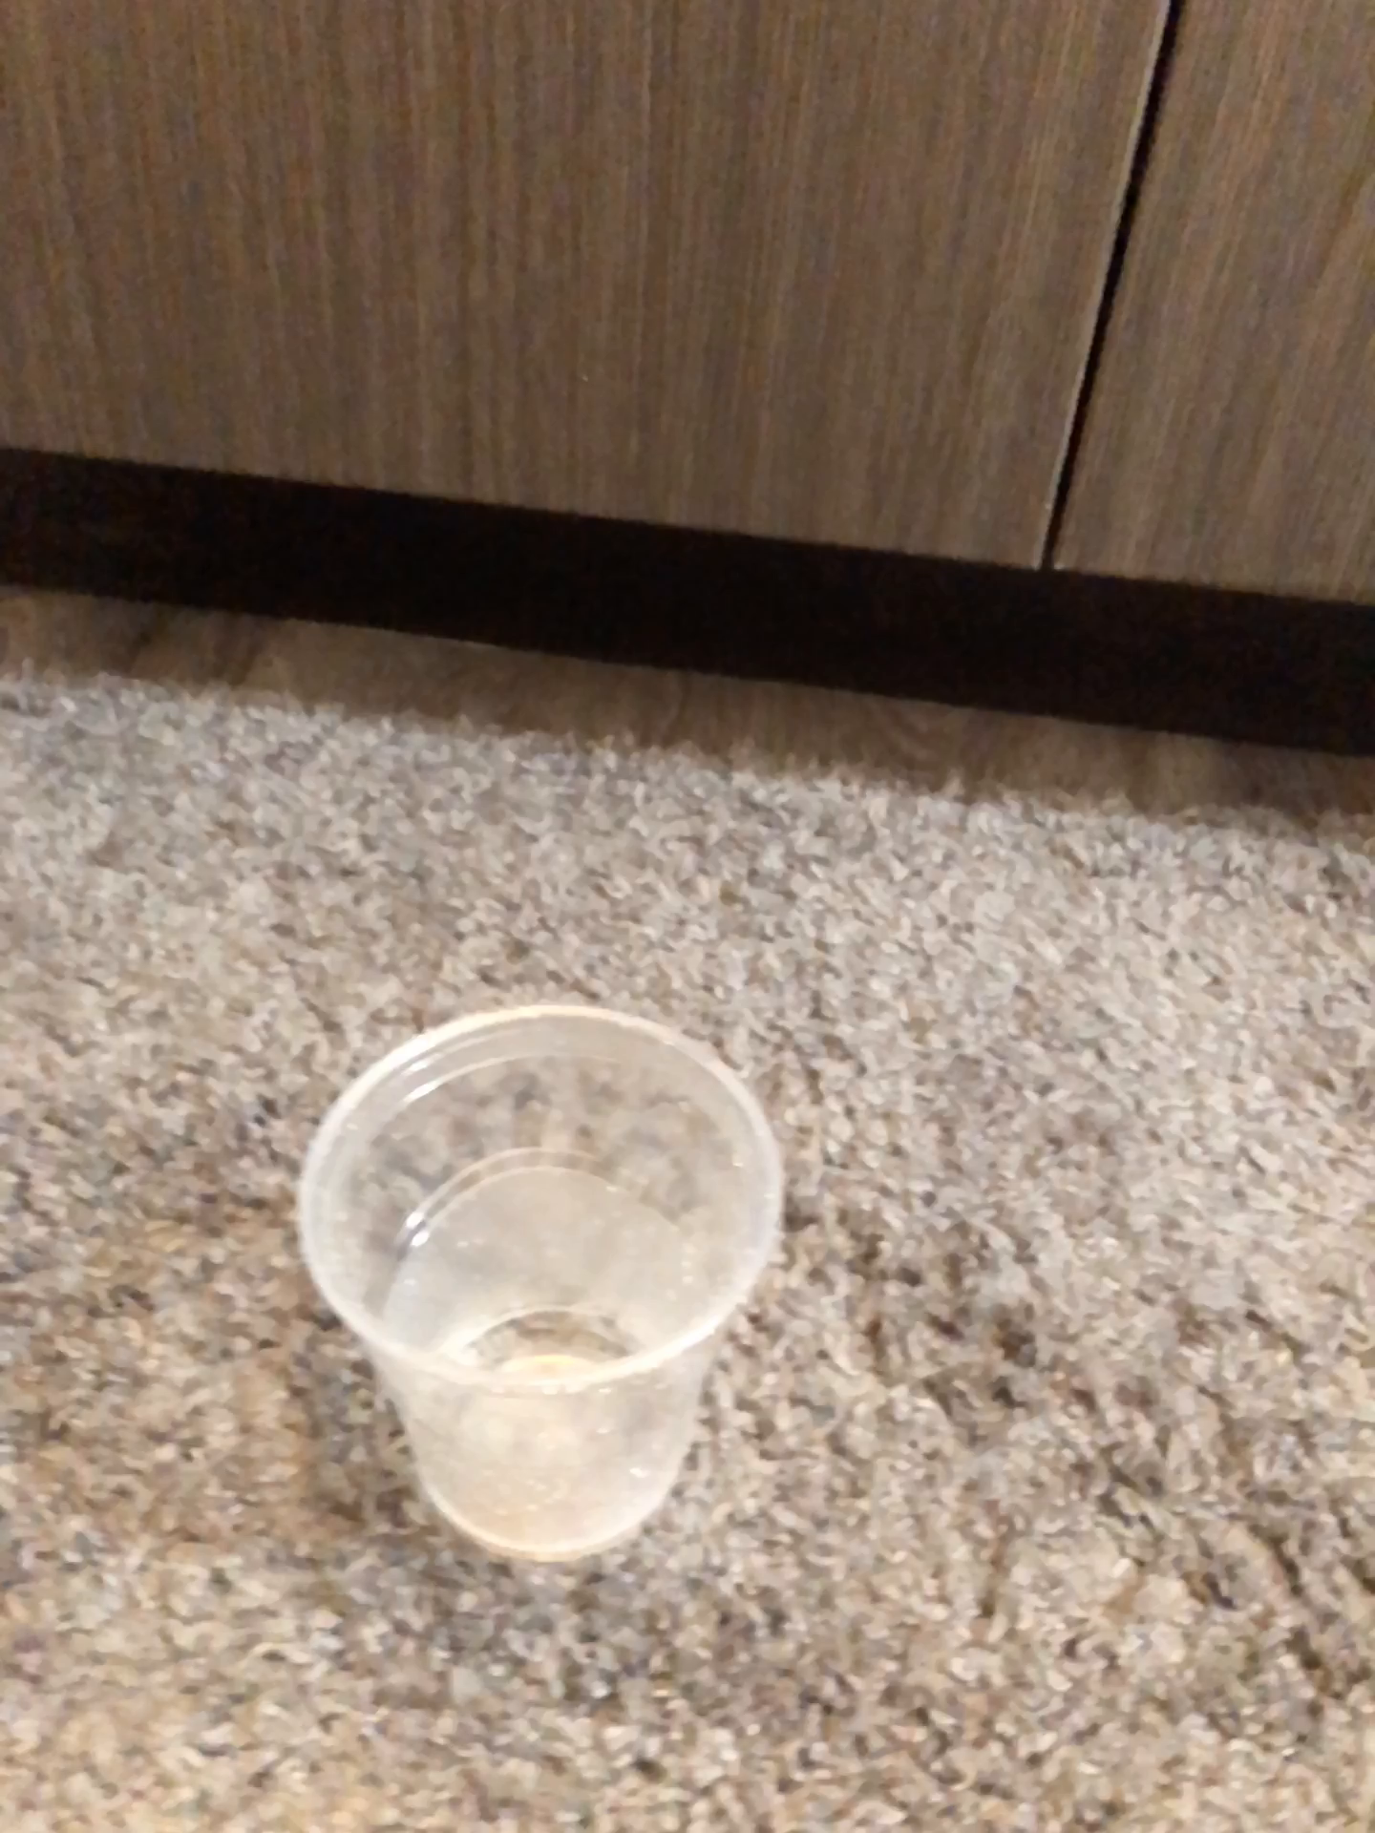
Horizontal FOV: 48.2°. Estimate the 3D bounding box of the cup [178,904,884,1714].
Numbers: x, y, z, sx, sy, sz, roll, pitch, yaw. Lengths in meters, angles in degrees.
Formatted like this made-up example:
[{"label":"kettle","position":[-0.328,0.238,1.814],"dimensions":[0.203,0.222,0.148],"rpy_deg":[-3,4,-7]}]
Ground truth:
[{"label":"cup","position":[-0.027,0.071,0.299],"dimensions":[0.090,0.090,0.090],"rpy_deg":[3,38,-2]}]
